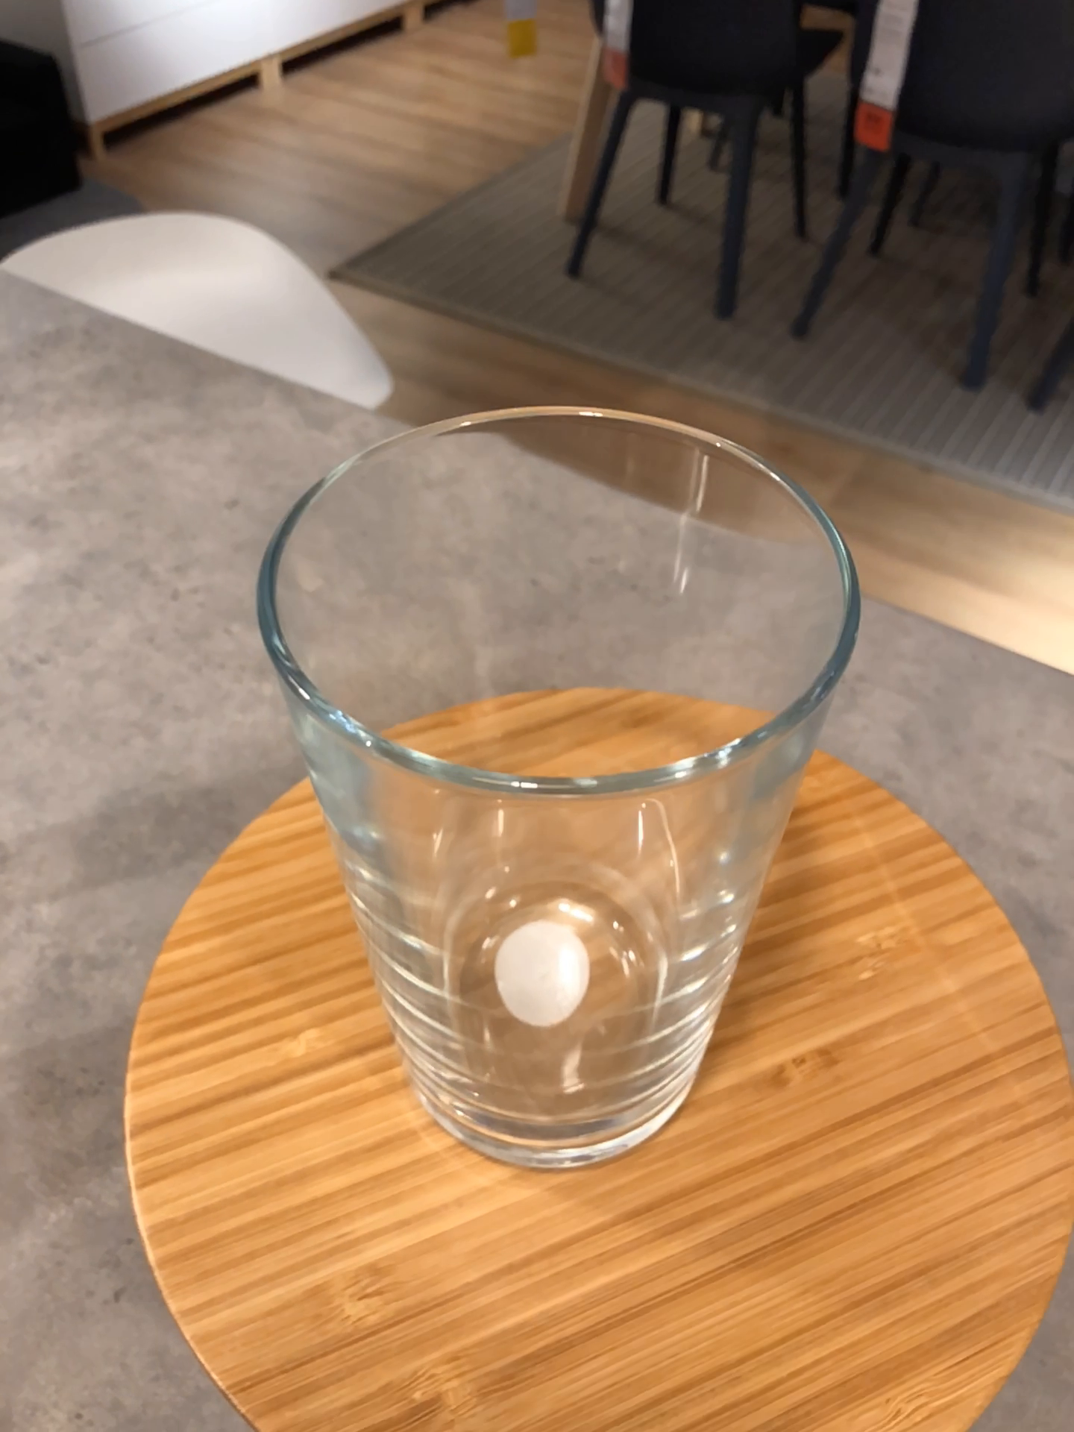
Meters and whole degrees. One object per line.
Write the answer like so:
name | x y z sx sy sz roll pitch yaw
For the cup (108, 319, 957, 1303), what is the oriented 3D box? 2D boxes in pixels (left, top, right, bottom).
cup | 0.005 0.020 0.236 0.100 0.139 0.100 1 44 -1
